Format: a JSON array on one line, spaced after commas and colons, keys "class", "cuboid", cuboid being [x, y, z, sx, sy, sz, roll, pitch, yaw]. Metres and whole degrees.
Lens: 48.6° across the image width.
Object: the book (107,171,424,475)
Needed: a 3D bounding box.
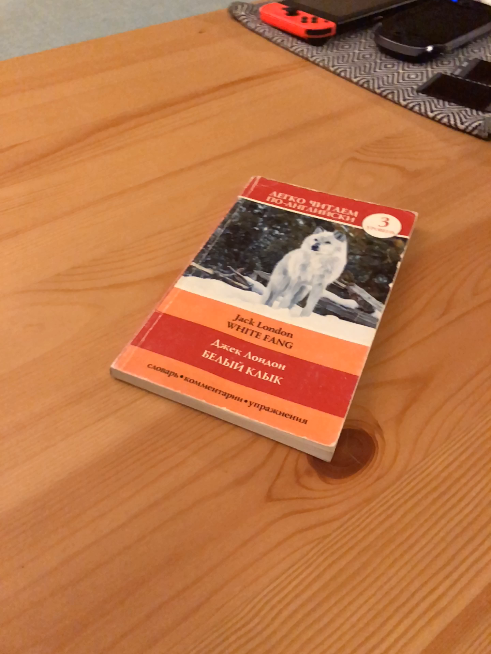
[{"class": "book", "cuboid": [0.026, -0.023, 0.342, 0.129, 0.020, 0.205, 18, 51, 15]}]
